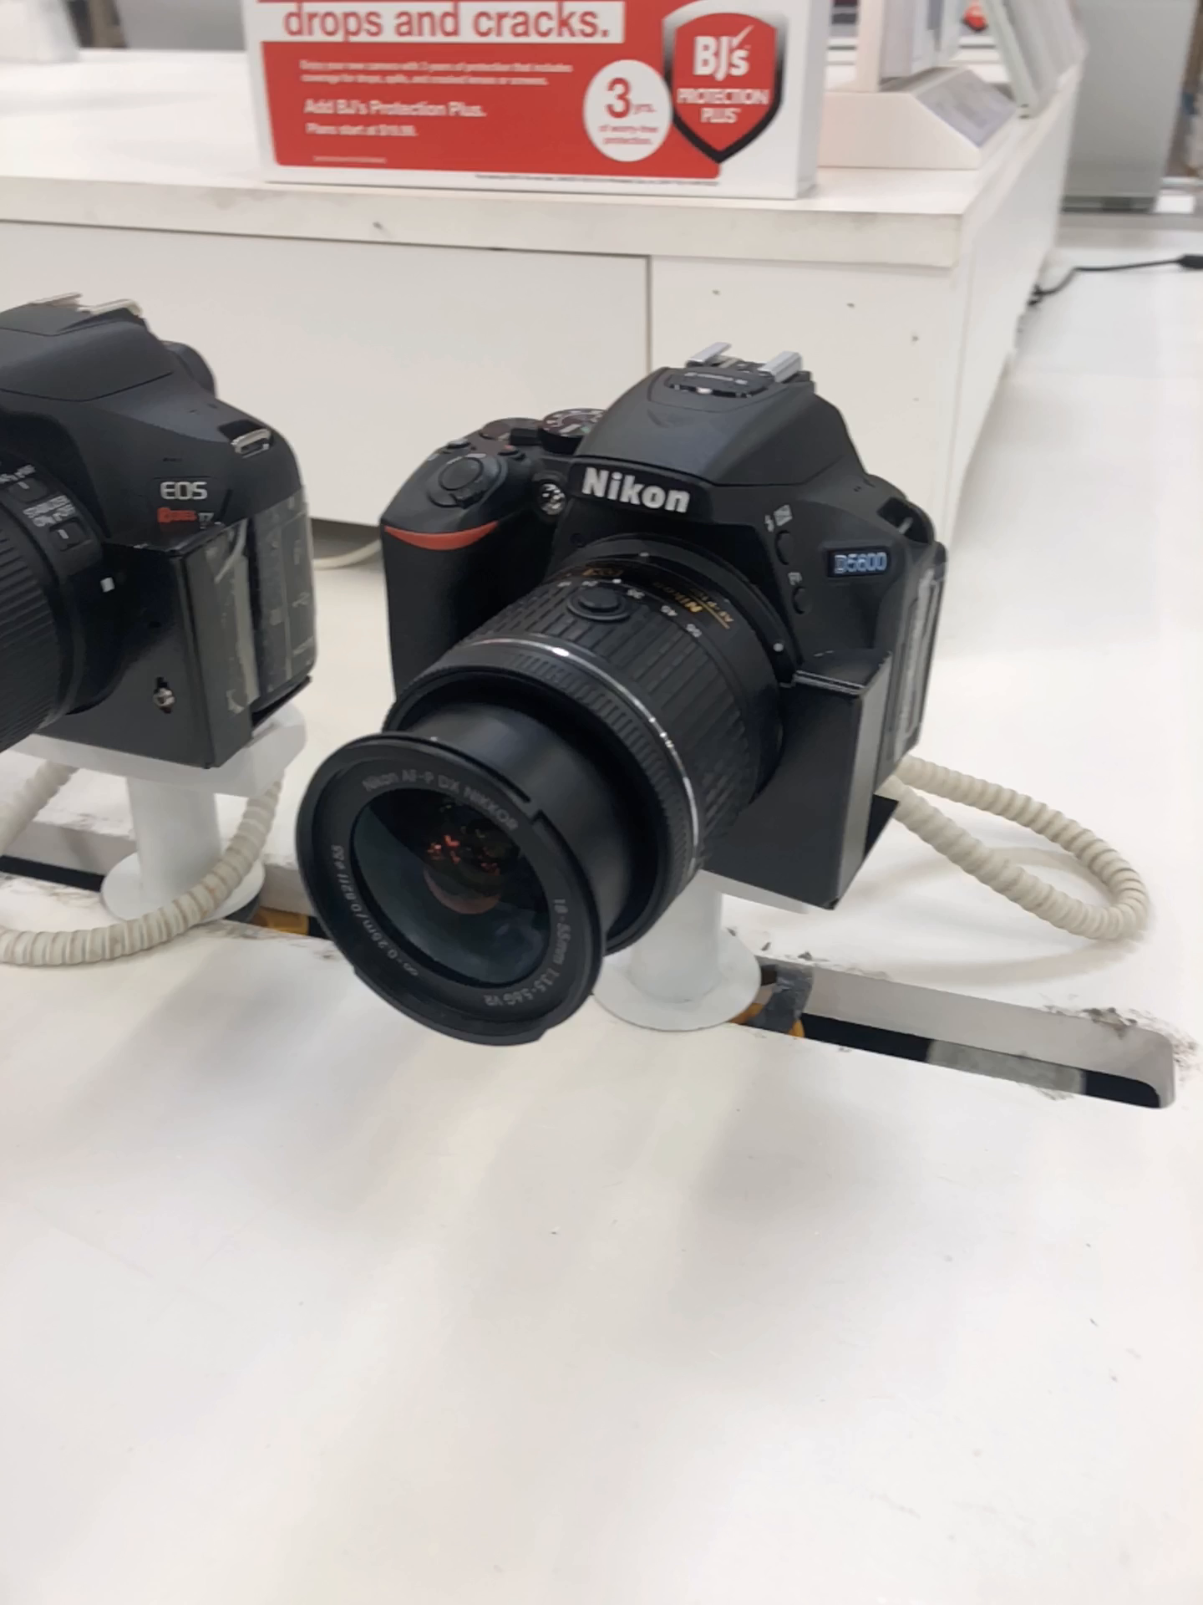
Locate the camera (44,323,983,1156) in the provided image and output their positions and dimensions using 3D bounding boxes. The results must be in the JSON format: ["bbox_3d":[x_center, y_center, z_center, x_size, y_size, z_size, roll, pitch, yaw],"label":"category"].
[{"bbox_3d":[-0.002,-0.030,0.268,0.120,0.089,0.151,12,33,19],"label":"camera"}]
